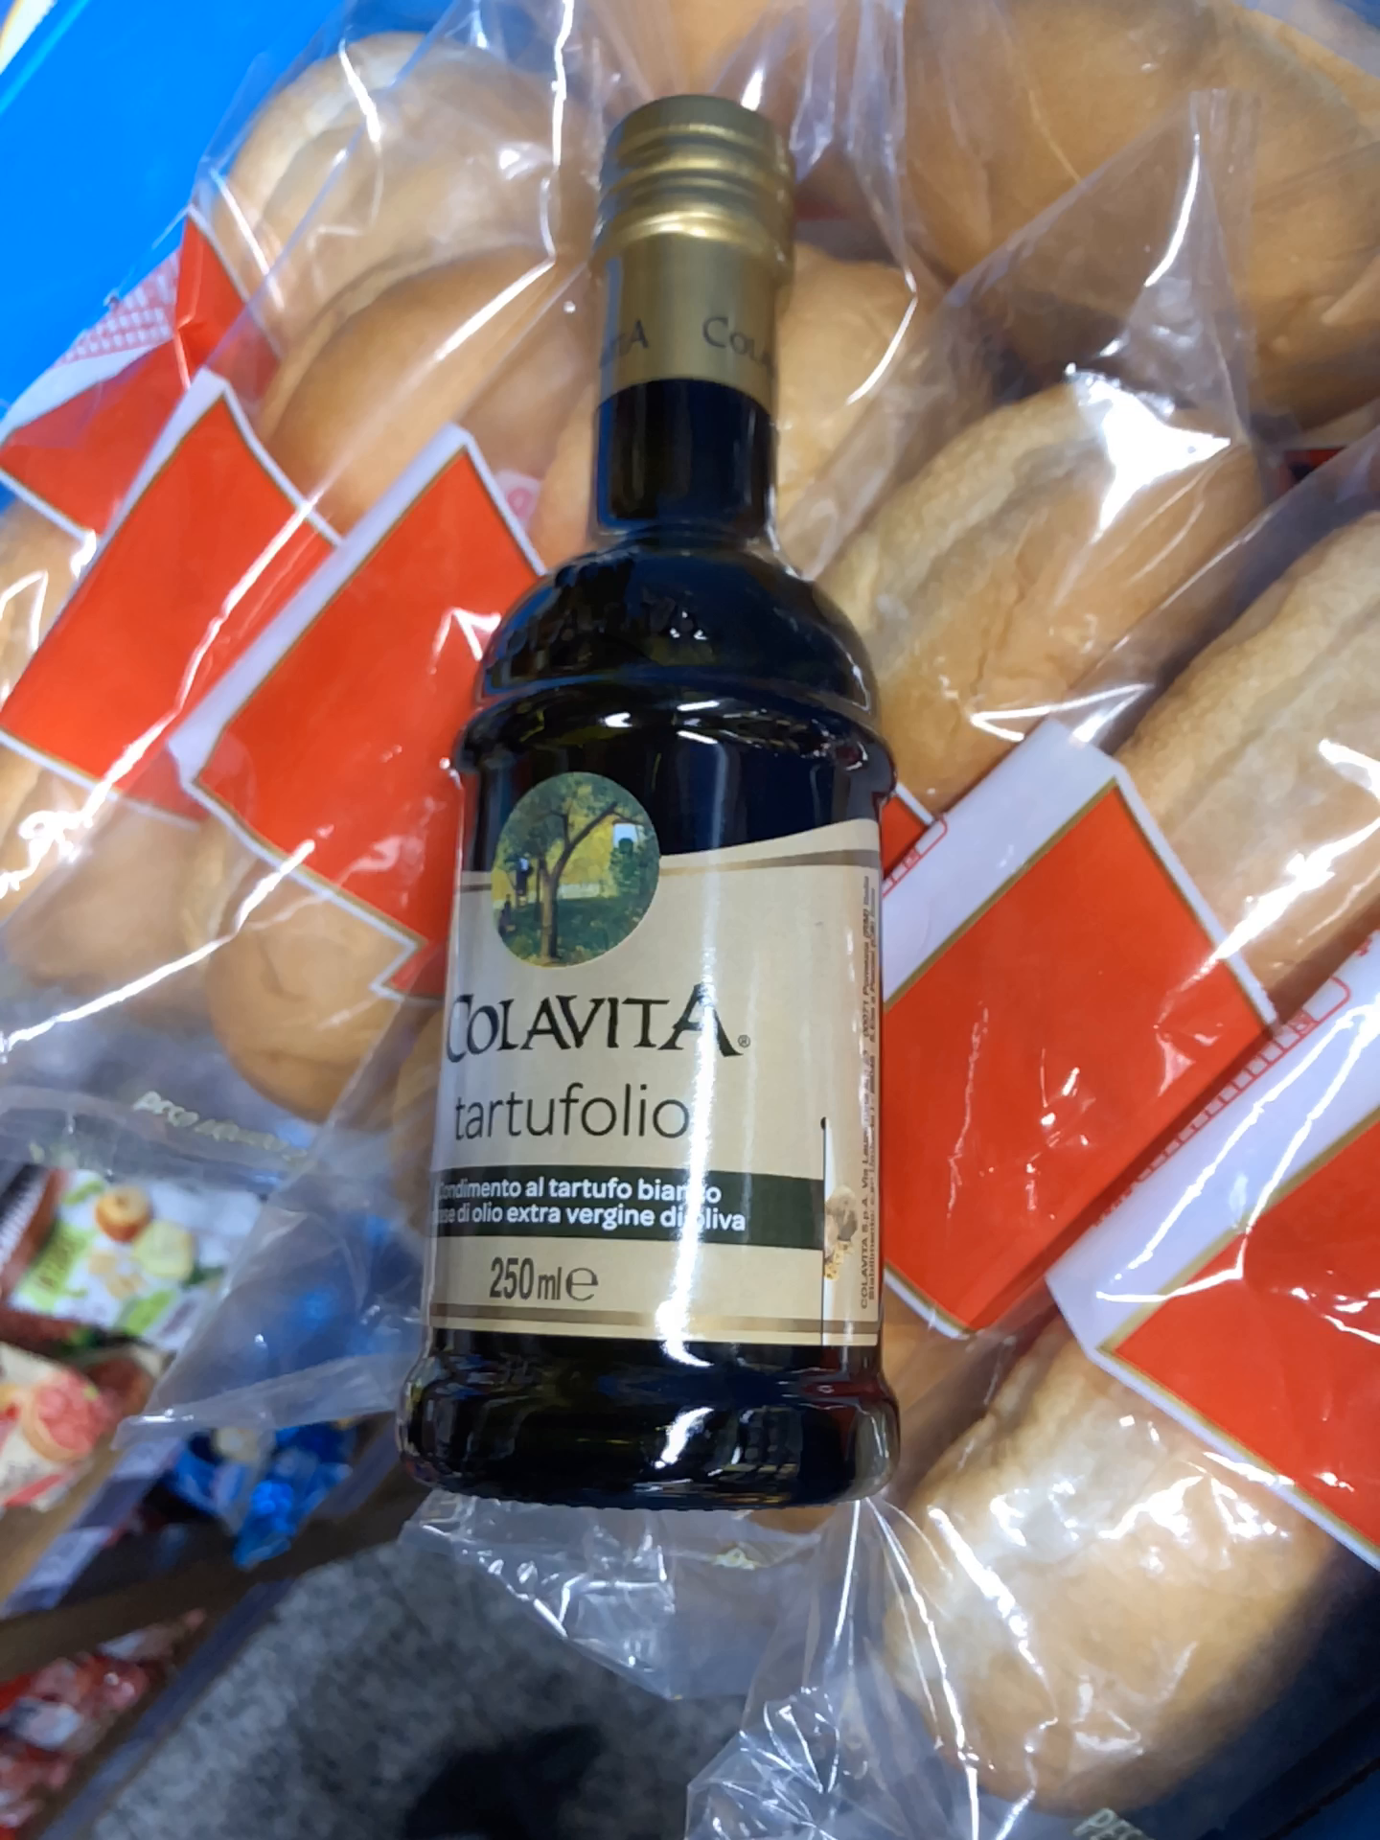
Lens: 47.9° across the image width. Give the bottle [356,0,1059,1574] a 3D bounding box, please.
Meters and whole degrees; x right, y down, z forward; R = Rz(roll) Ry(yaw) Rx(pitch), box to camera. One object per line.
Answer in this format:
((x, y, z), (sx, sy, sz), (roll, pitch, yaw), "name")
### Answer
((0.004, -0.030, 0.216), (0.070, 0.060, 0.210), (-6, 78, 26), "bottle")
